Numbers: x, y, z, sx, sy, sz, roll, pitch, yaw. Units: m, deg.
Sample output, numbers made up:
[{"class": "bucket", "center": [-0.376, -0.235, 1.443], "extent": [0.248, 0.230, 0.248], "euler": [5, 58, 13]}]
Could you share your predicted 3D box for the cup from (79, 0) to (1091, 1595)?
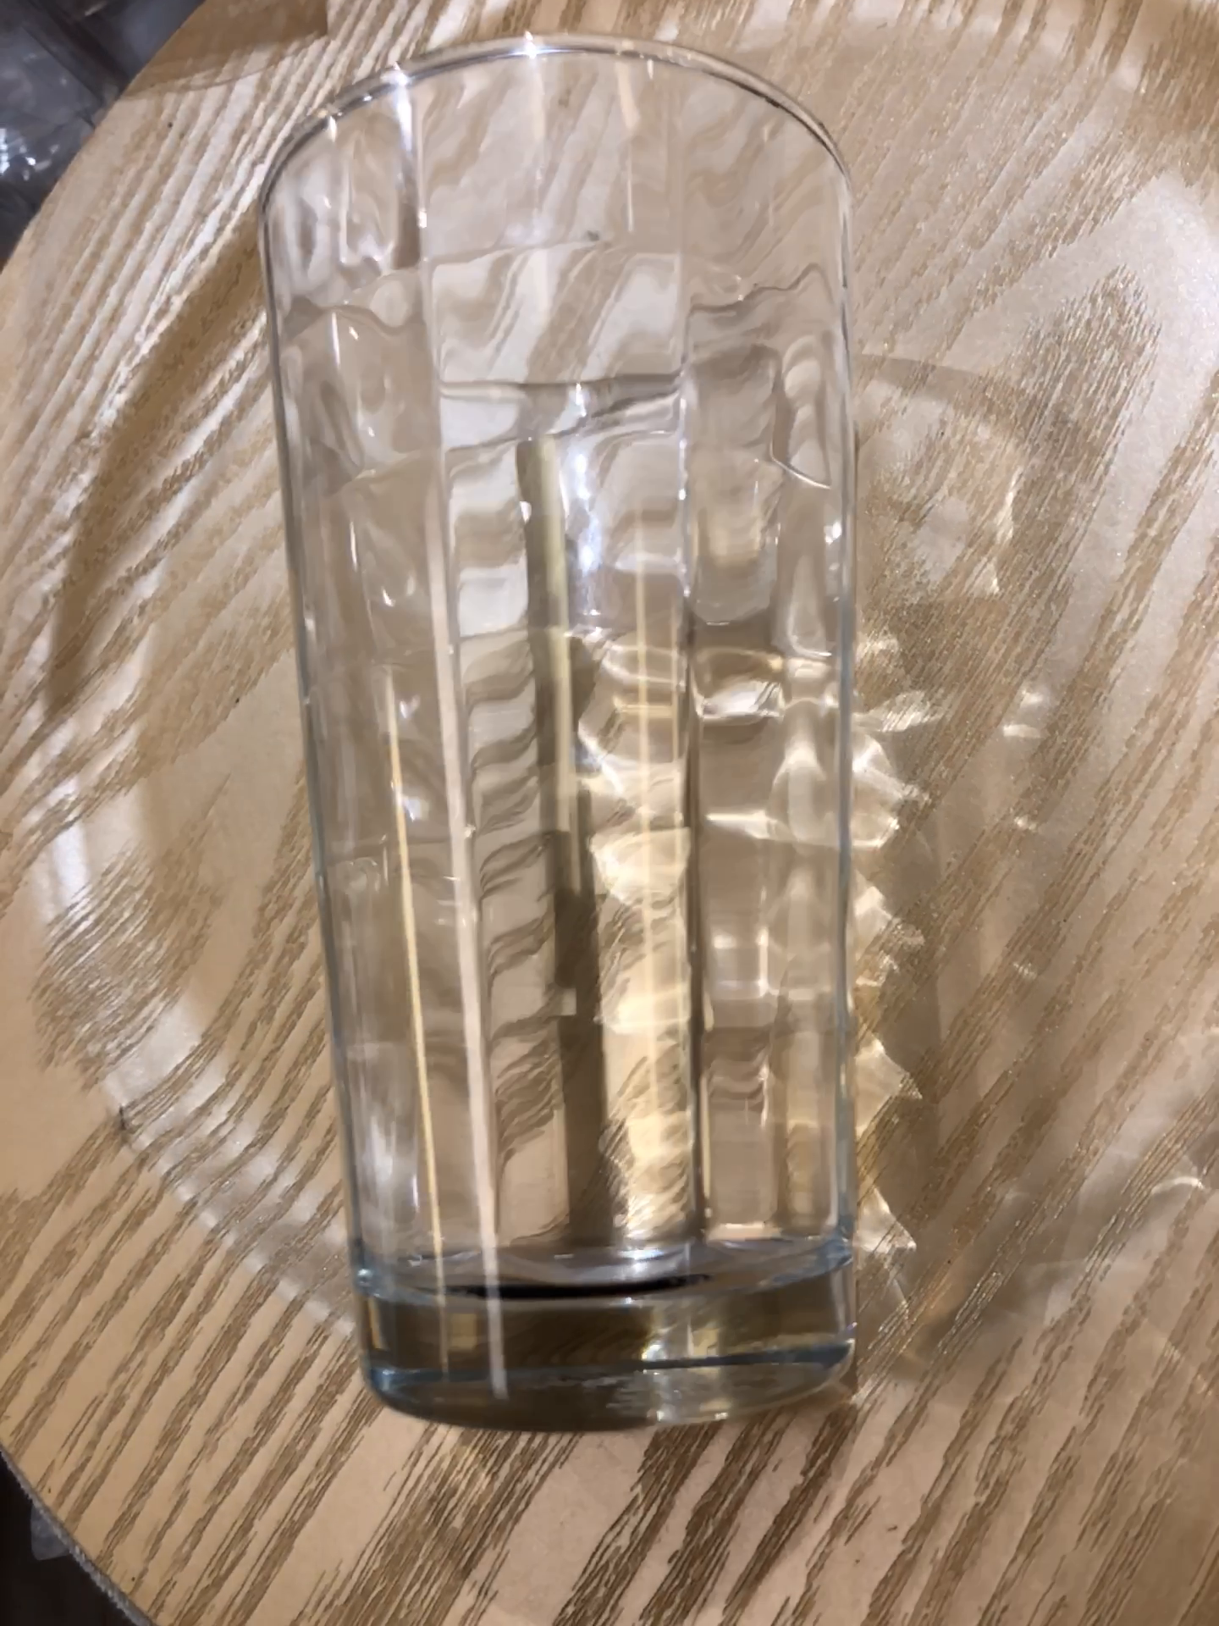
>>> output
[{"class": "cup", "center": [0.001, -0.015, 0.178], "extent": [0.090, 0.080, 0.180], "euler": [-8, 75, 25]}]
